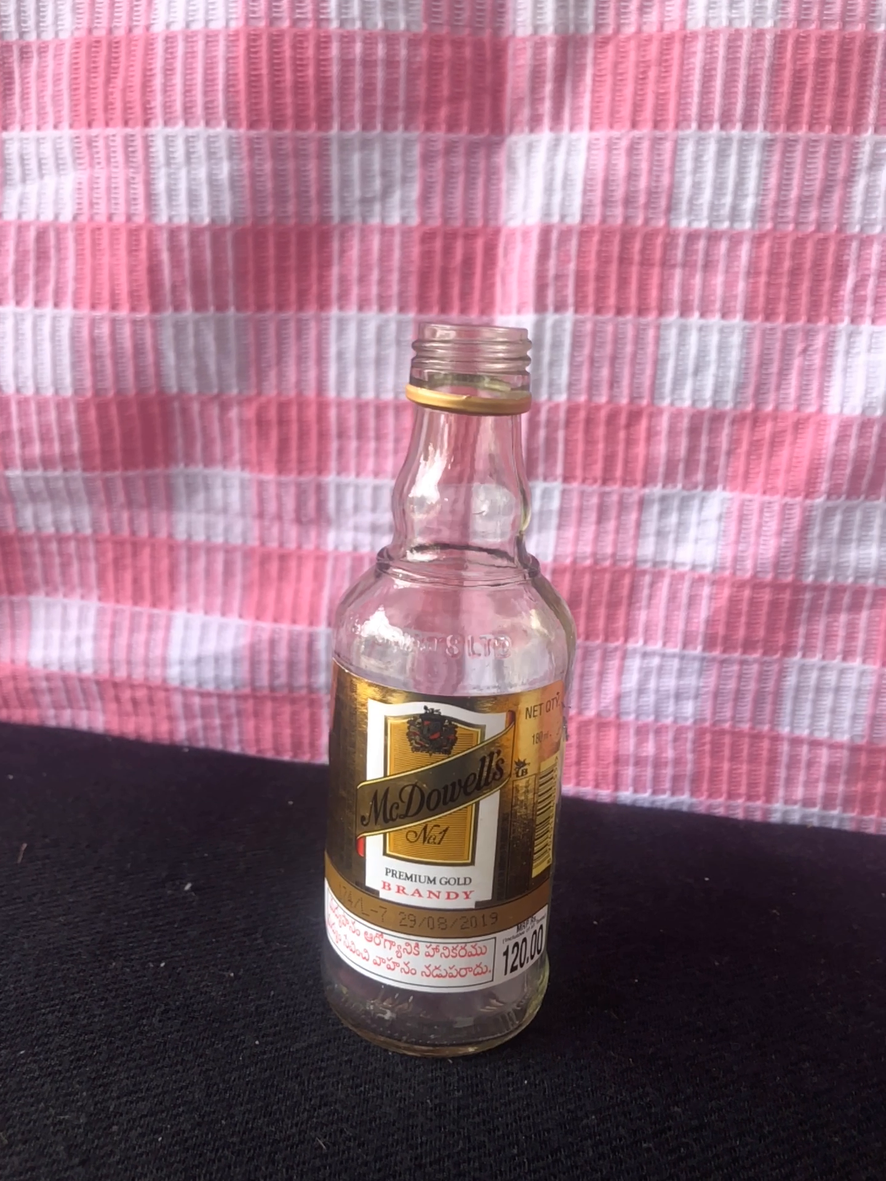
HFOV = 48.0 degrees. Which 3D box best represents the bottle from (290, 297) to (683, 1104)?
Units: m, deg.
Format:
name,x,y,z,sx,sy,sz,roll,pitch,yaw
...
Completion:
name,x,y,z,sx,sy,sz,roll,pitch,yaw
bottle,0.008,0.020,0.205,0.060,0.149,0.050,8,17,11
